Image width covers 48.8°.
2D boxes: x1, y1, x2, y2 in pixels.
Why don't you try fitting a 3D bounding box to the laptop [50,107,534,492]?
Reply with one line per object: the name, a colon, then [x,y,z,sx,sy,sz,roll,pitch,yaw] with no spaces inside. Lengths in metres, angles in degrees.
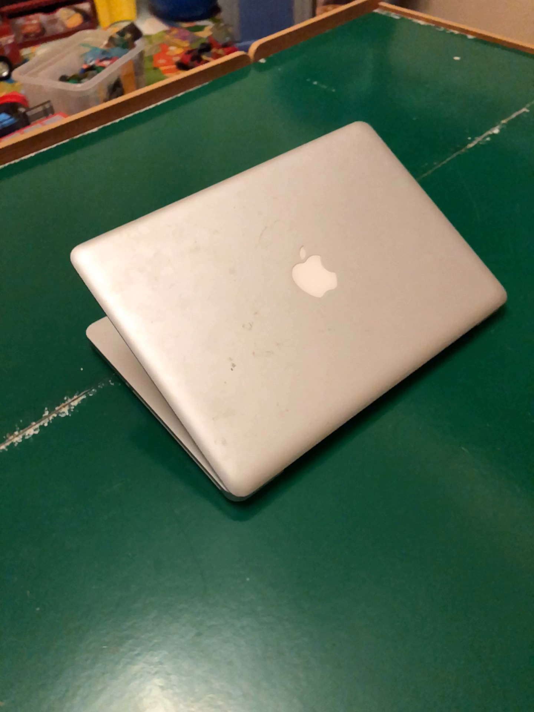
laptop: [0.027,-0.074,0.495,0.315,0.098,0.210,-32,56,-24]
